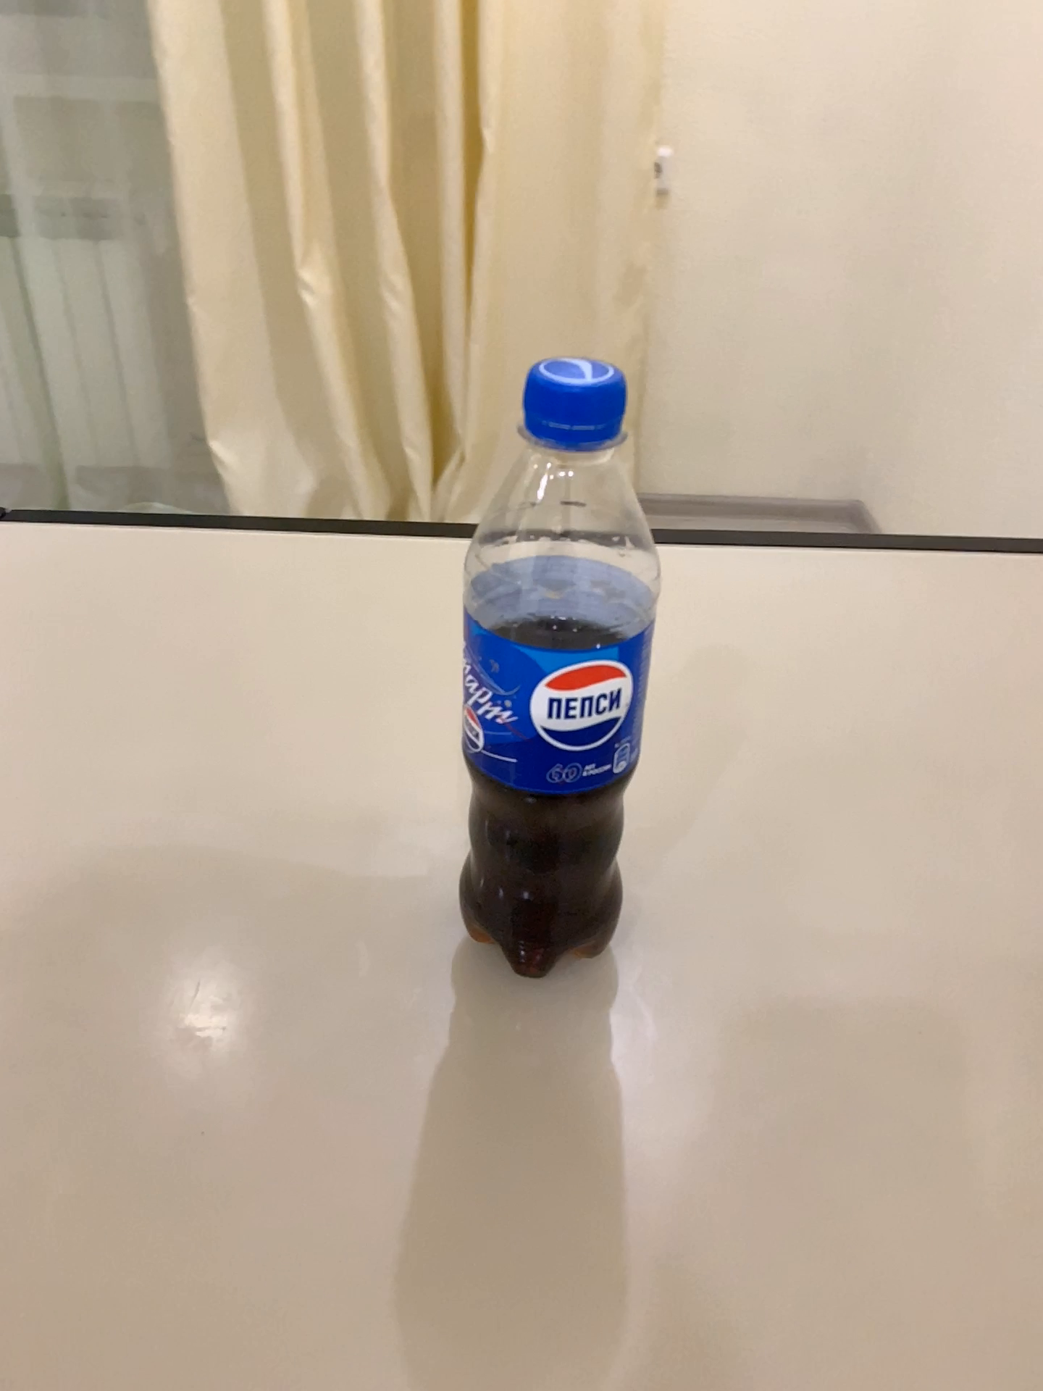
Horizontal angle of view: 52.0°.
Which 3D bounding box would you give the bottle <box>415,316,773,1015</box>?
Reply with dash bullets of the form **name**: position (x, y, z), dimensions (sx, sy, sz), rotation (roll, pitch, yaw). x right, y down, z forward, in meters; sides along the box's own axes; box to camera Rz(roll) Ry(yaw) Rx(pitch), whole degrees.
- **bottle**: position (0.020, -0.005, 0.389), dimensions (0.080, 0.229, 0.080), rotation (2, 34, -1)
